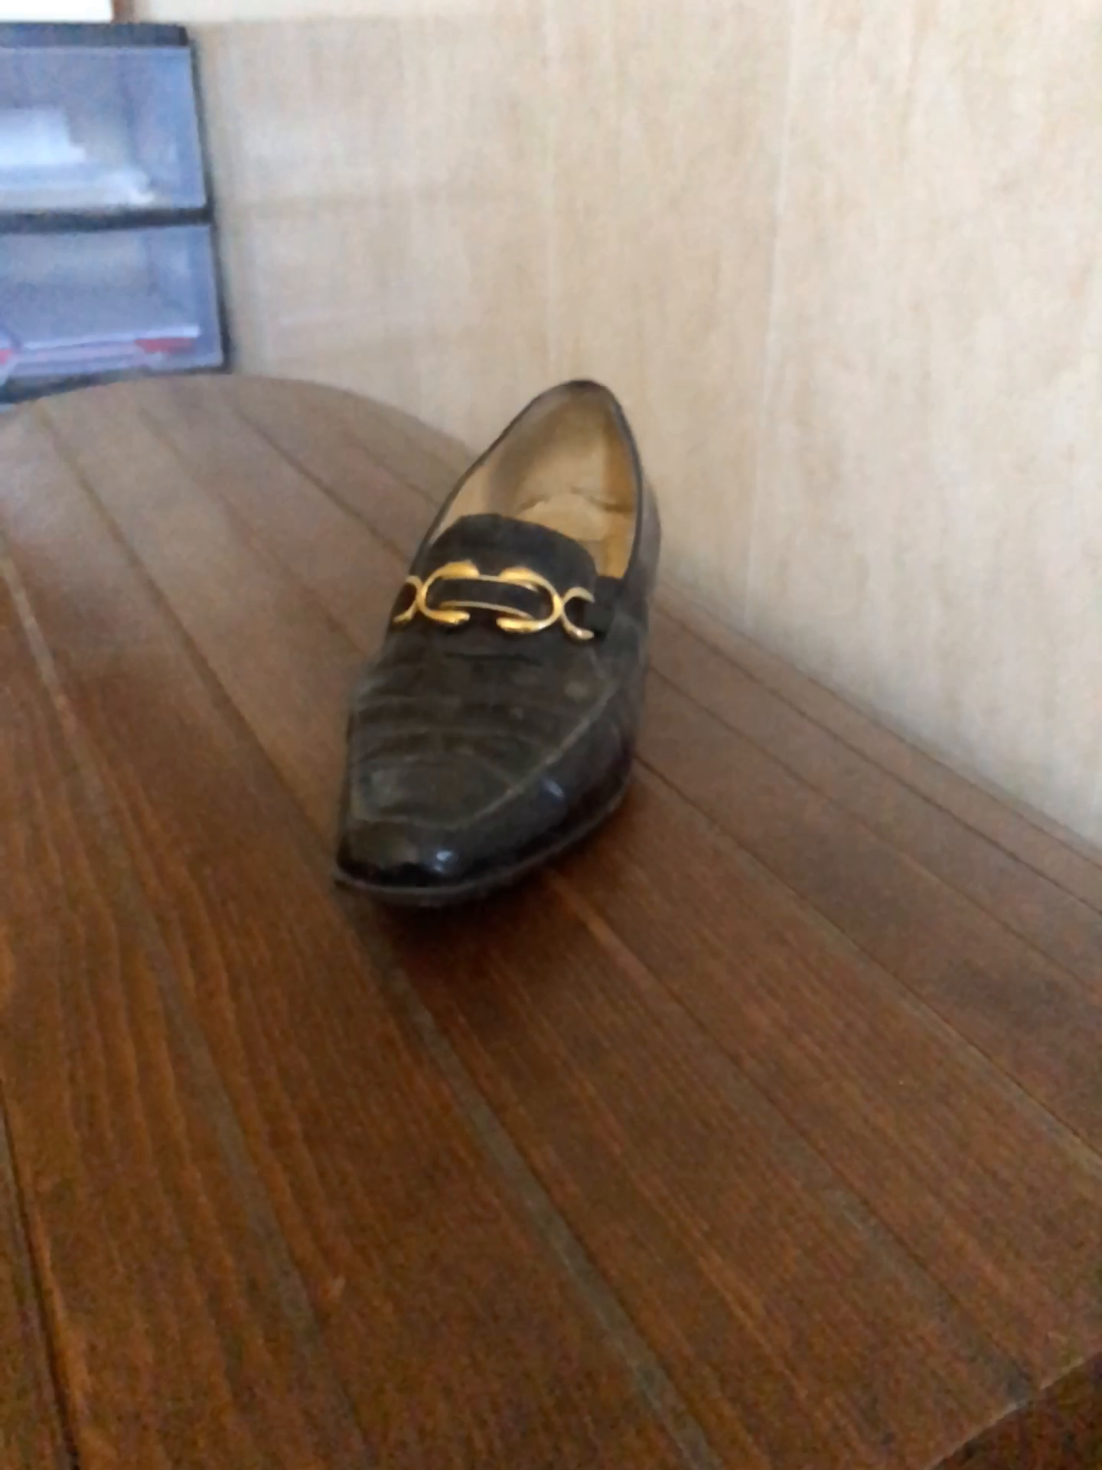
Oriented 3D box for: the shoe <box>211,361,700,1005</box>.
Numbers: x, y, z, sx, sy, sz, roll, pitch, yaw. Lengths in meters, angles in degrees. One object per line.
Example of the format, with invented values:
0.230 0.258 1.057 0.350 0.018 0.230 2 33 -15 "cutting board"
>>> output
-0.009 -0.039 0.387 0.090 0.099 0.242 5 30 9 "shoe"
